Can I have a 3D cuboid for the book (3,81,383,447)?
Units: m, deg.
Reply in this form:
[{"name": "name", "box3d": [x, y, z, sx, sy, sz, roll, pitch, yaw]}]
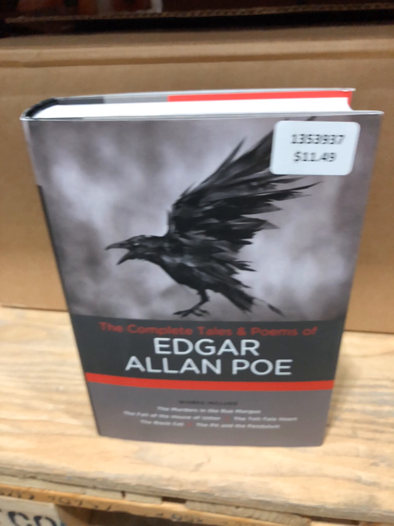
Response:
[{"name": "book", "box3d": [0.002, 0.018, 0.288, 0.171, 0.240, 0.054, 0, 33, 5]}]
